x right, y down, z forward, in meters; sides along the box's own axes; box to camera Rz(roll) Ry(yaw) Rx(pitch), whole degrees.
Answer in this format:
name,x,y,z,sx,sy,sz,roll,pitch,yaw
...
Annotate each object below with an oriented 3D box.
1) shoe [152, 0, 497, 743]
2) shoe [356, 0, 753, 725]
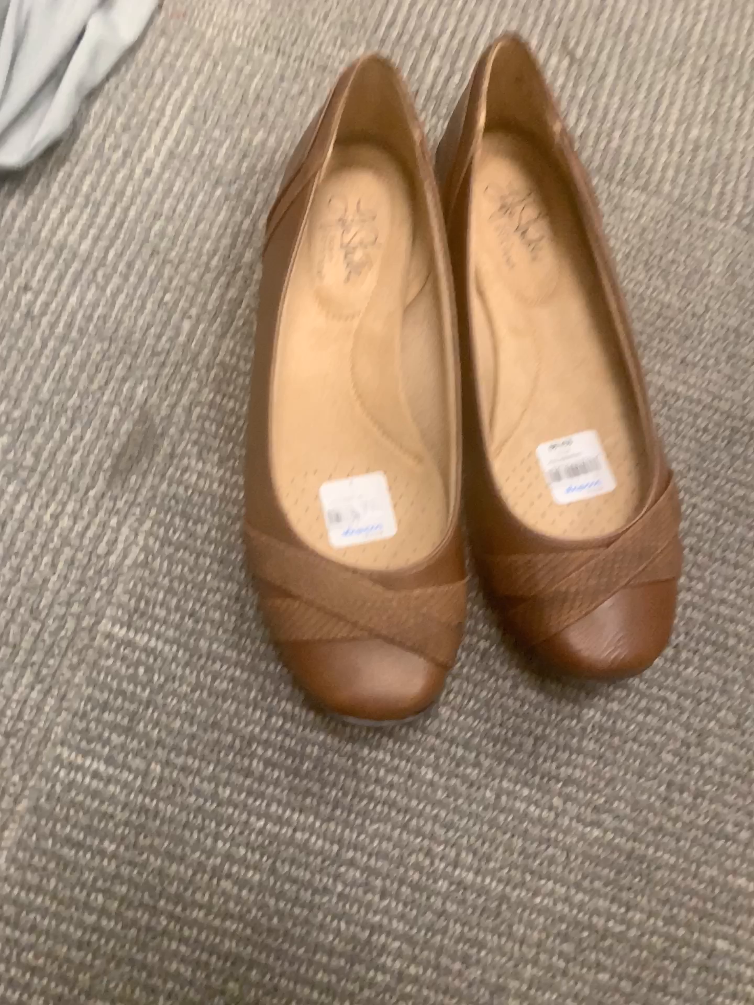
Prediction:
name,x,y,z,sx,sy,sz,roll,pitch,yaw
shoe,-0.014,-0.054,0.292,0.099,0.084,0.269,3,77,-5
shoe,0.068,-0.061,0.308,0.098,0.084,0.271,-9,78,-8
